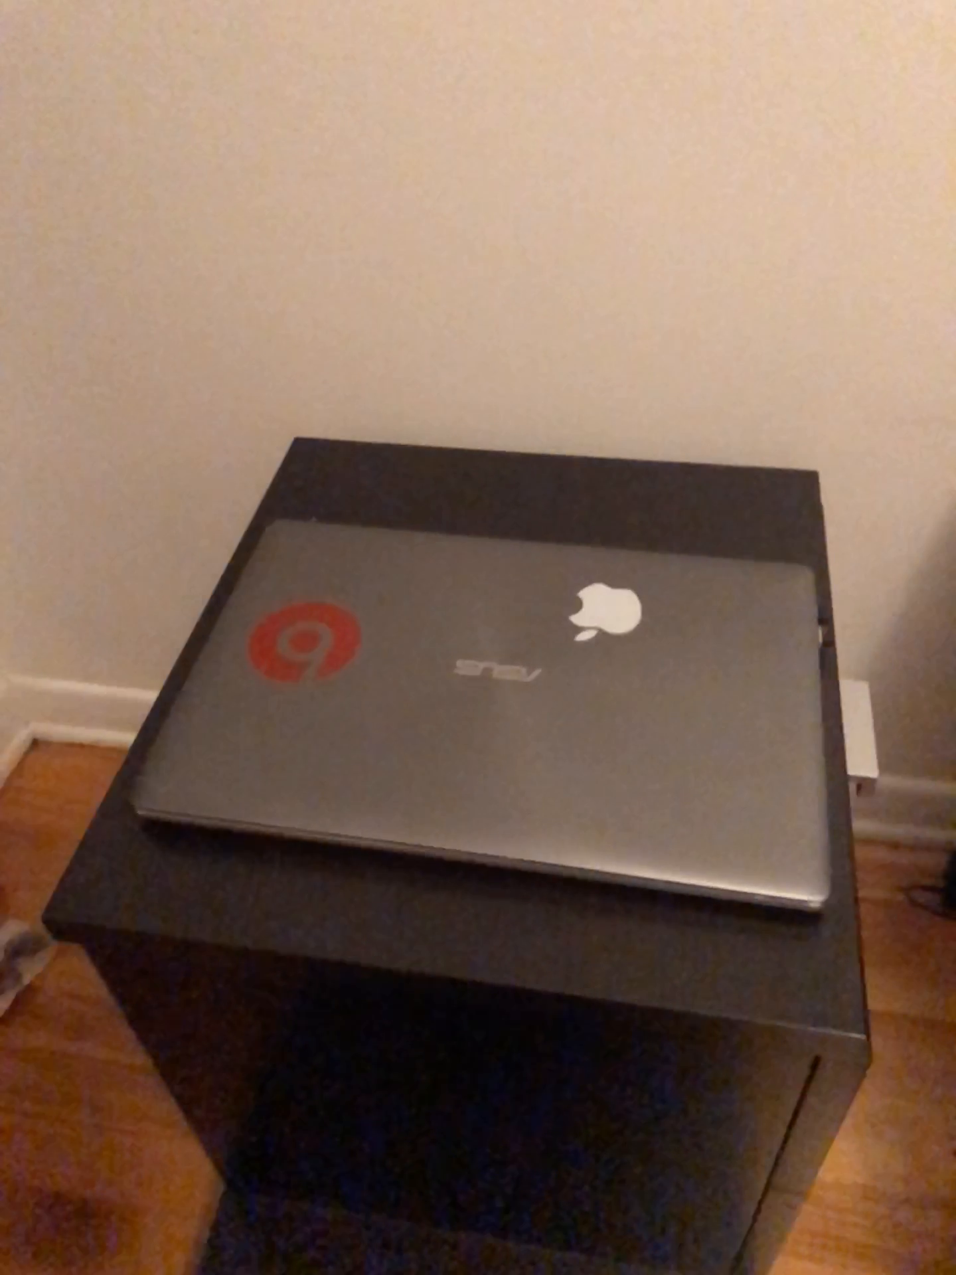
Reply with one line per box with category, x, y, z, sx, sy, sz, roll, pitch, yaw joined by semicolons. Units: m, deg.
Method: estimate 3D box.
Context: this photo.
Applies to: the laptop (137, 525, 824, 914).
laptop;0.013;0.029;0.648;0.373;0.010;0.250;6;46;10
